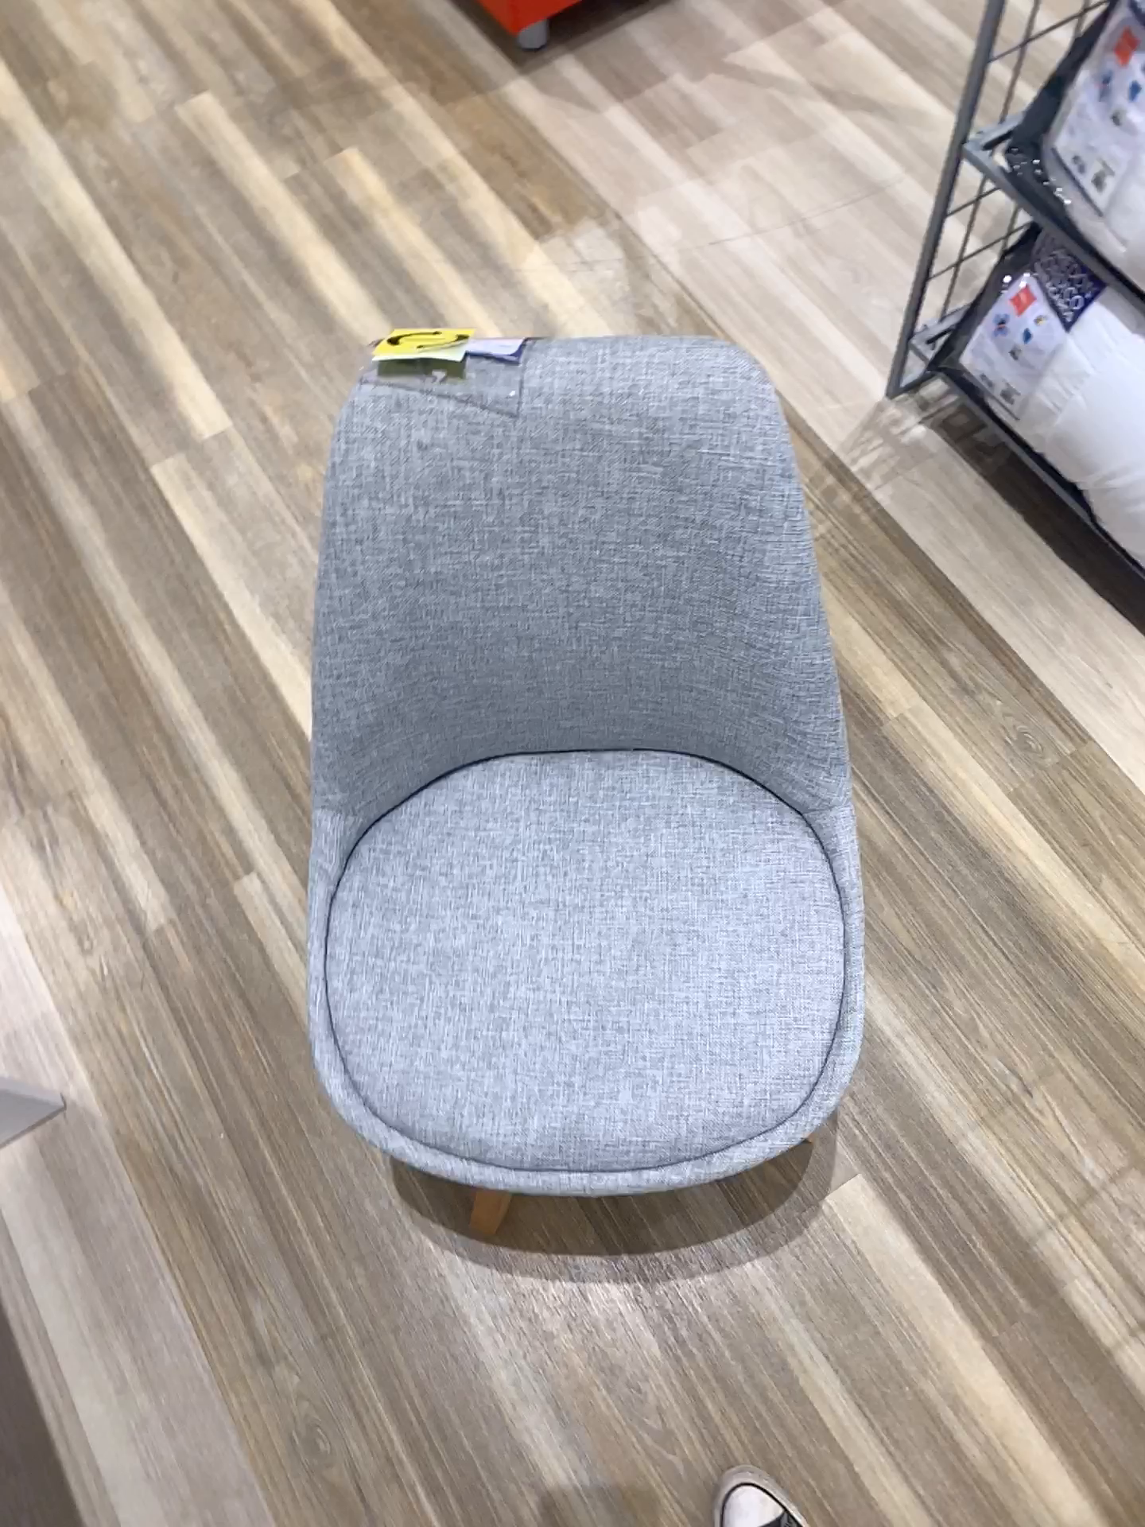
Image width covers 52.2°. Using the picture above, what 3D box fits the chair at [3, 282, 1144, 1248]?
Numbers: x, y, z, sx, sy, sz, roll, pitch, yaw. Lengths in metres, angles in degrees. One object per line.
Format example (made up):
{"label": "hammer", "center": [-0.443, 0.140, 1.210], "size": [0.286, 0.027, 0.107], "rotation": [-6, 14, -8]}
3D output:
{"label": "chair", "center": [0.029, 0.127, 1.005], "size": [0.513, 0.858, 0.516], "rotation": [-2, 66, 4]}
